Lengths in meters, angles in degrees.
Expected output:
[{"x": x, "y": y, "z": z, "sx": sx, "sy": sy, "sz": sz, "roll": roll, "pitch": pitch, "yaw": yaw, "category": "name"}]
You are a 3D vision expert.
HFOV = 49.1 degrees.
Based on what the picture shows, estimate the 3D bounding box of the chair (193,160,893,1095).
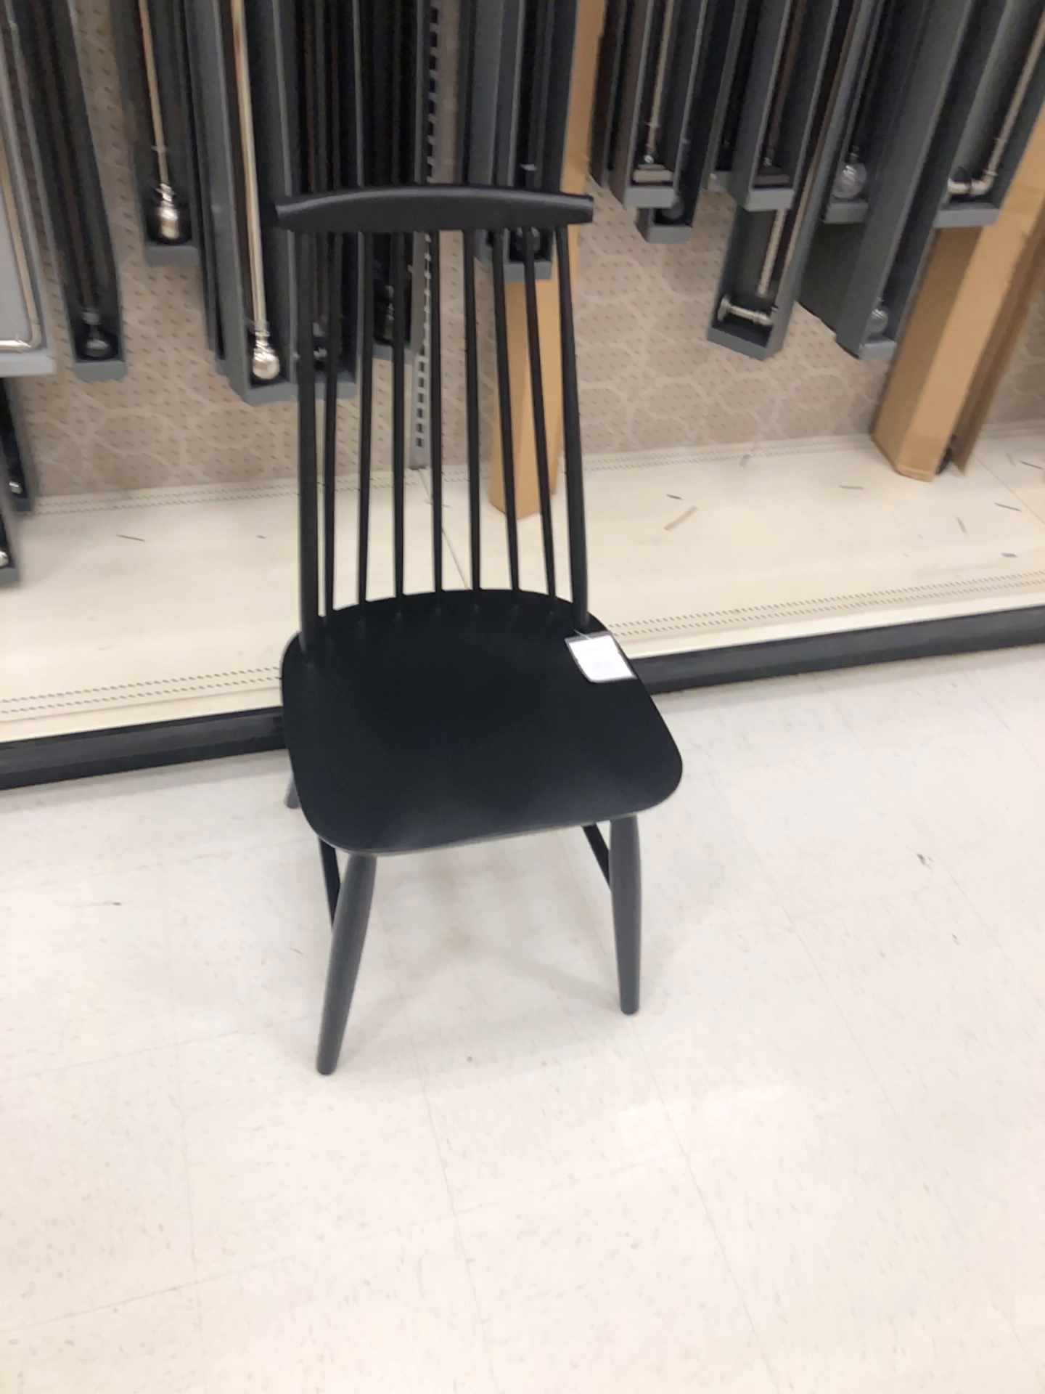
[{"x": -0.067, "y": -0.072, "z": 1.399, "sx": 0.518, "sy": 0.909, "sz": 0.611, "roll": -7, "pitch": 45, "yaw": -15, "category": "chair"}]
